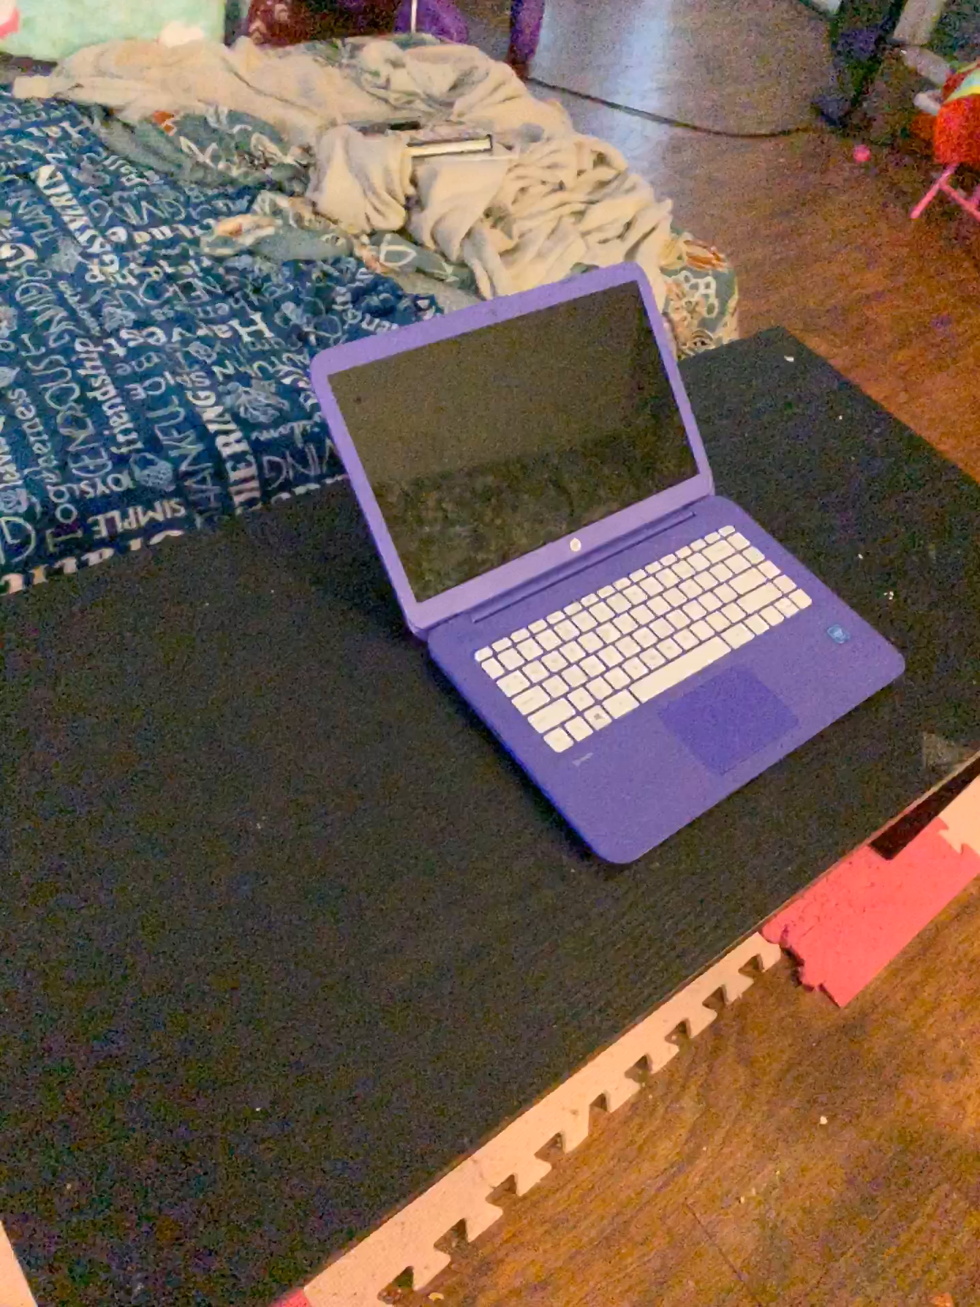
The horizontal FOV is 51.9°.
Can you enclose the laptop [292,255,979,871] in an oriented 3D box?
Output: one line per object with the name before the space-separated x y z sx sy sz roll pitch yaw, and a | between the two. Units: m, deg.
laptop | 0.102 -0.103 0.768 0.341 0.132 0.397 -26 63 -29
